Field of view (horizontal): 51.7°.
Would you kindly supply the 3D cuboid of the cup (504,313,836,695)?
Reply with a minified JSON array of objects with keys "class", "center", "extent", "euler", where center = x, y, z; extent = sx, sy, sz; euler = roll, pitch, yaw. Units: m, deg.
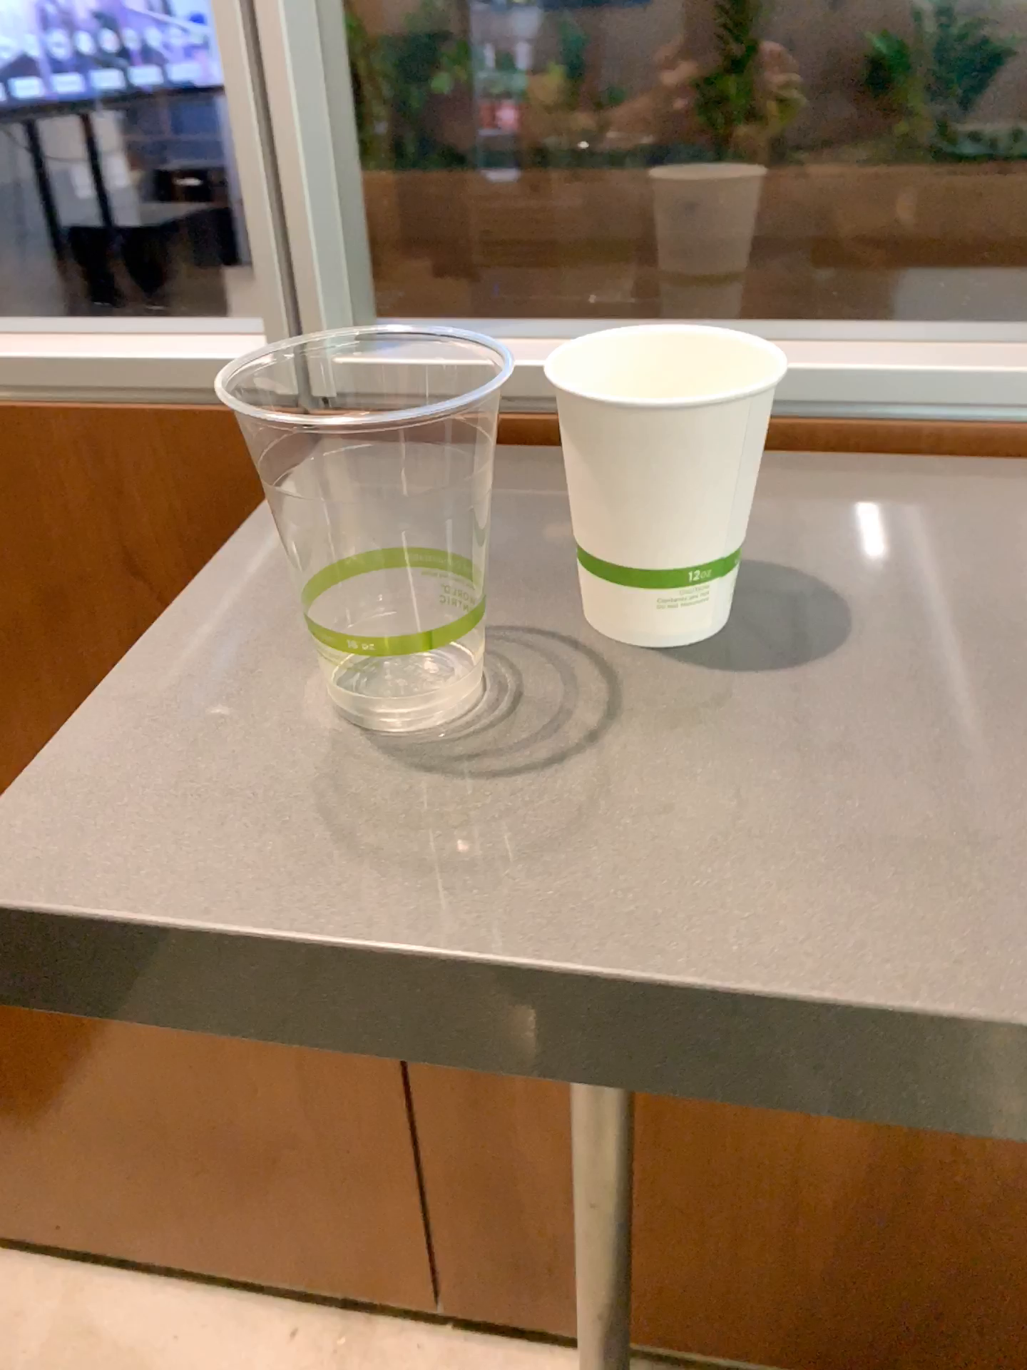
[{"class":"cup","center":[0.058,-0.075,0.418],"extent":[0.080,0.109,0.090],"euler":[-26,39,-32]}]

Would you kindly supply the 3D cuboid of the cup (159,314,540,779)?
[{"class":"cup","center":[-0.055,-0.053,0.374],"extent":[0.090,0.119,0.090],"euler":[-2,33,1]}]
